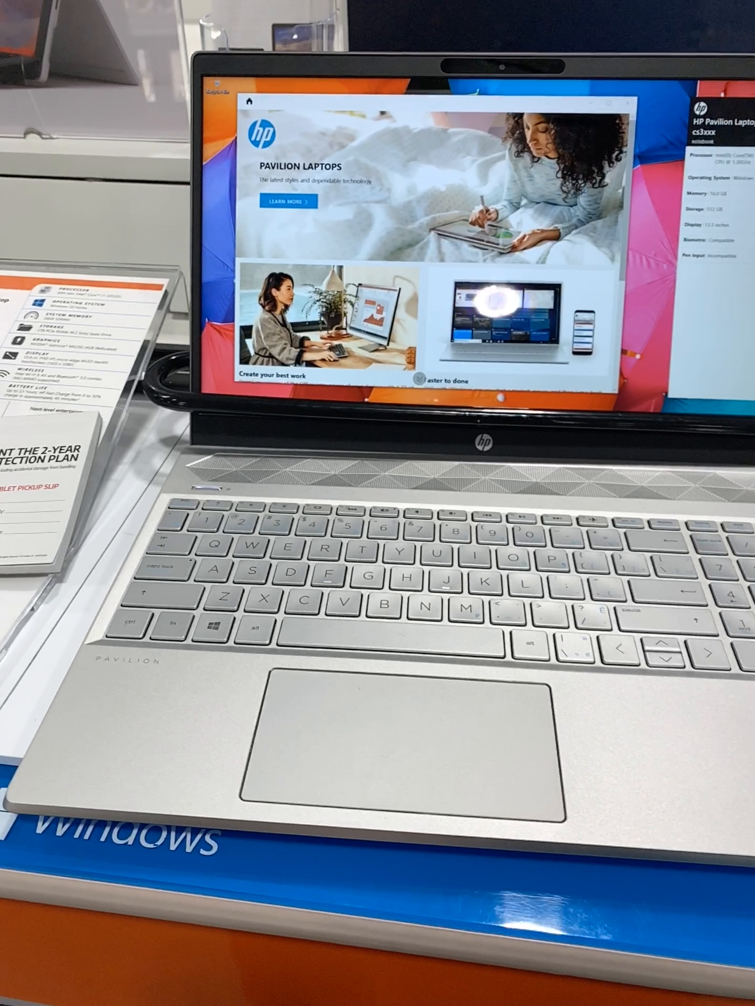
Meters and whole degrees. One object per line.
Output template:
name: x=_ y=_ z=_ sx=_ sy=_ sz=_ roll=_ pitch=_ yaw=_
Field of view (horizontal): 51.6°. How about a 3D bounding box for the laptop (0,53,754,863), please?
laptop: x=0.055 y=-0.065 z=0.330 sx=0.332 sy=0.175 sz=0.335 roll=2 pitch=37 yaw=4
